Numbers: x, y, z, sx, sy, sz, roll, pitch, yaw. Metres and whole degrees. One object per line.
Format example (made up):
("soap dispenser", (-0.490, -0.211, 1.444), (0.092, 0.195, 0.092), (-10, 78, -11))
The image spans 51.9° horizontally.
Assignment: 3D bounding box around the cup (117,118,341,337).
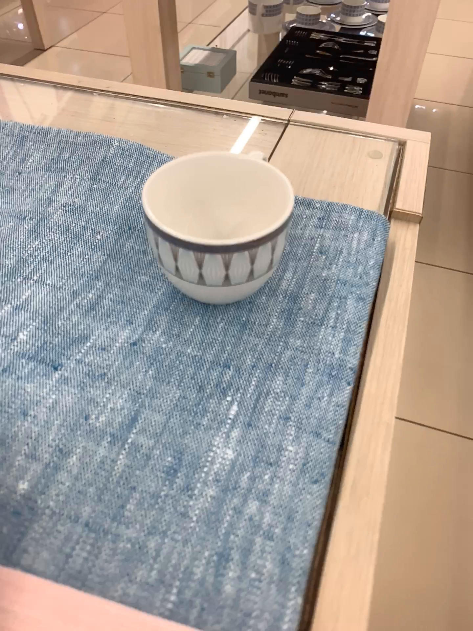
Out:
("cup", (0.002, -0.044, 0.219), (0.070, 0.040, 0.090), (13, 49, 11))
